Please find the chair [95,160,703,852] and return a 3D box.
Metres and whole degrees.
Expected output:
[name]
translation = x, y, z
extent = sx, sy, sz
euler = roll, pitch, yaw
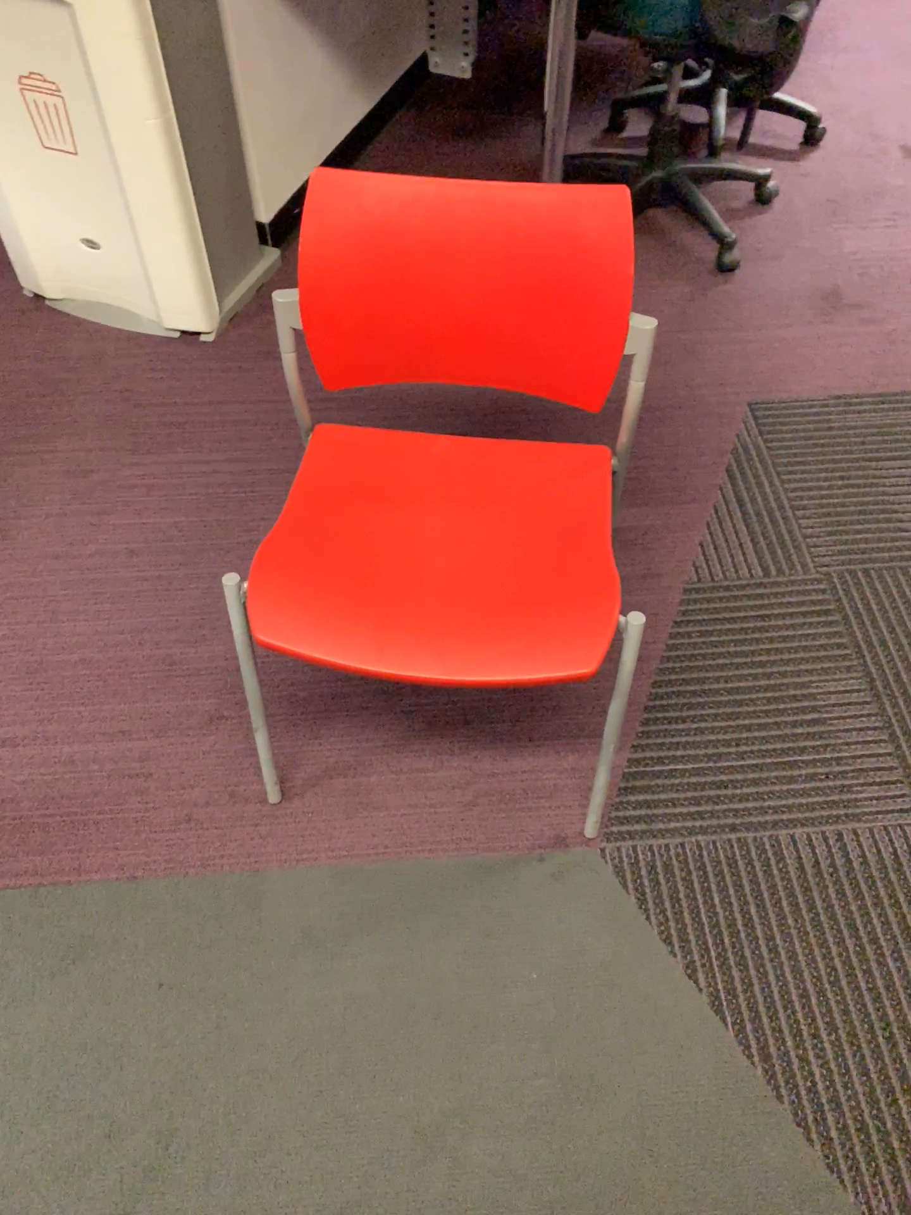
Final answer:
[chair]
translation = -0.001, -0.117, 1.258
extent = 0.540, 0.684, 0.565
euler = 7, 52, 9
